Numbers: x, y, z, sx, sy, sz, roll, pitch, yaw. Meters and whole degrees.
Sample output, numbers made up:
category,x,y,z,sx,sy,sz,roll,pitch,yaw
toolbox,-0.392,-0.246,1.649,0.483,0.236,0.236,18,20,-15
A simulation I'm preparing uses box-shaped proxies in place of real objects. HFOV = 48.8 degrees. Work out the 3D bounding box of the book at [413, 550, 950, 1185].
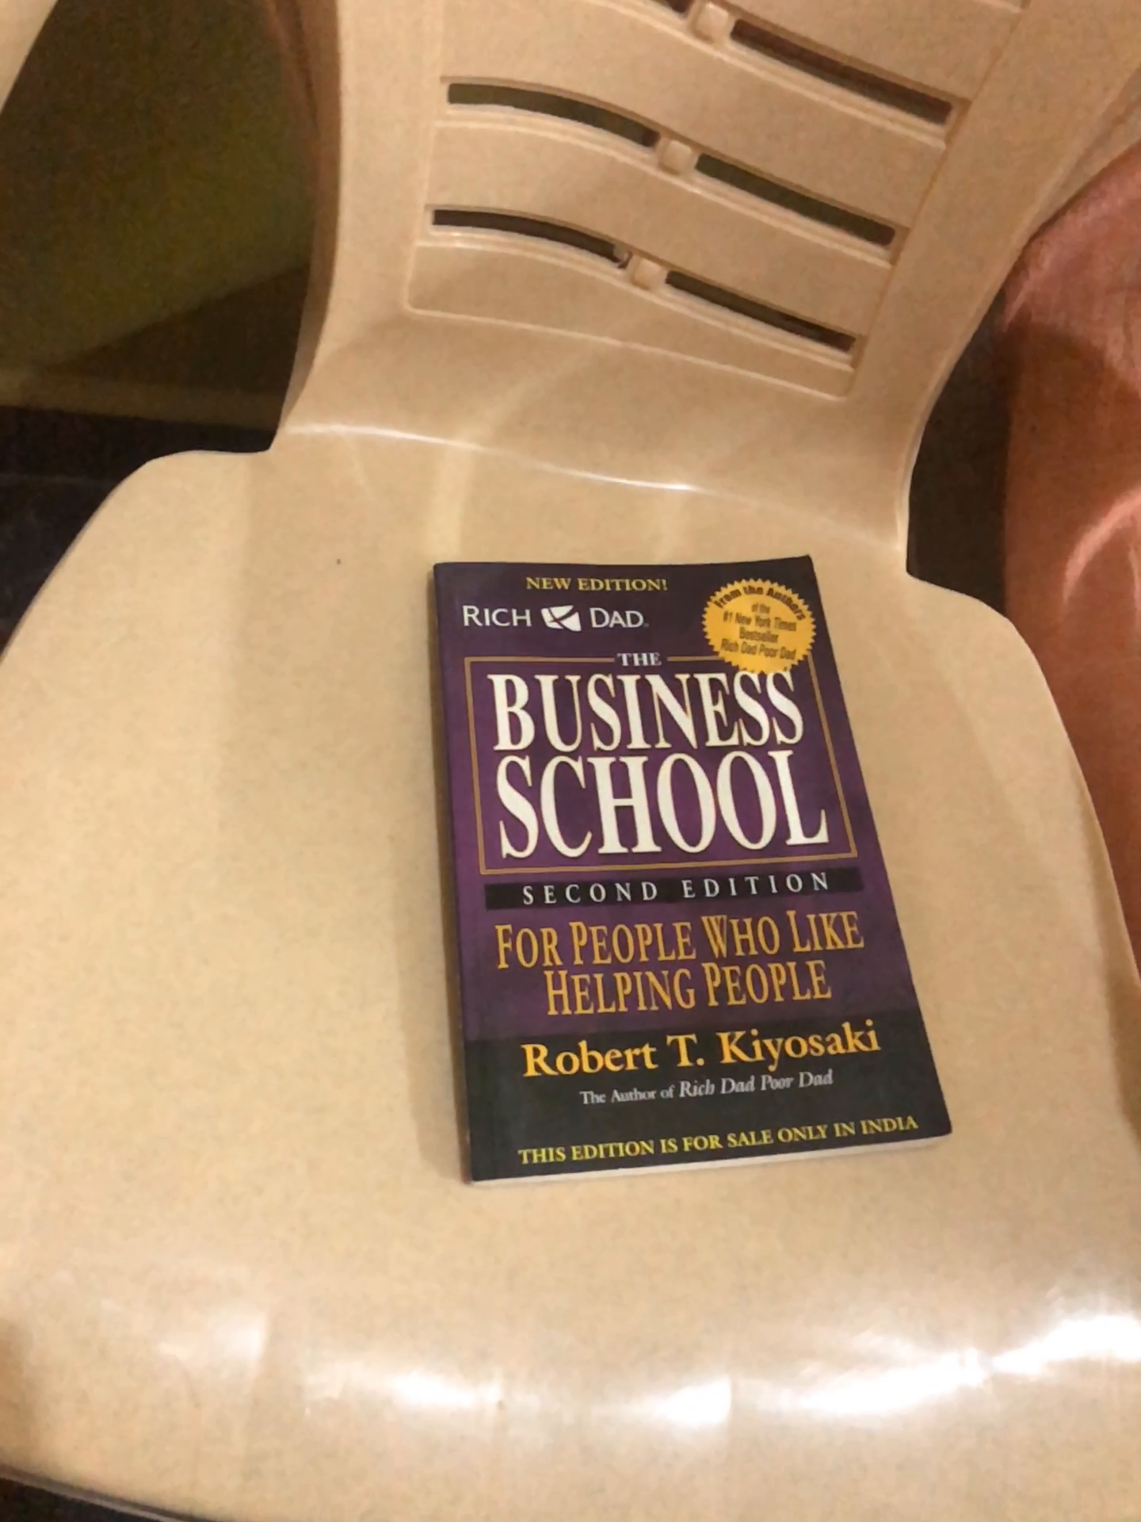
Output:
category,x,y,z,sx,sy,sz,roll,pitch,yaw
book,0.034,0.027,0.467,0.170,0.020,0.230,-2,69,-11
